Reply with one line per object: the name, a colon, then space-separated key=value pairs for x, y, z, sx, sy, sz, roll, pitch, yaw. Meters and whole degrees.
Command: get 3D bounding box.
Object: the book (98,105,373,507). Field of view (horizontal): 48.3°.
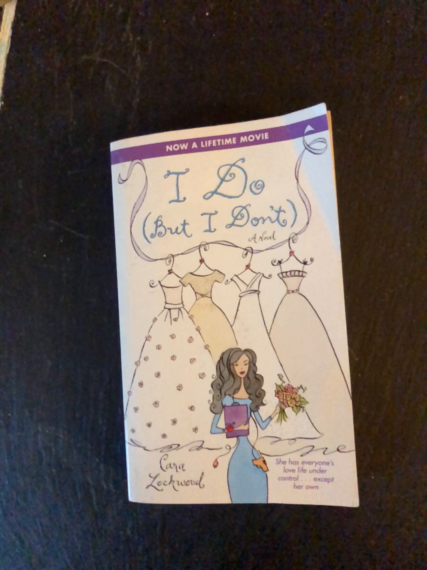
book: x=0.008 y=0.011 z=0.221 sx=0.110 sy=0.032 sz=0.164 roll=-4 pitch=88 yaw=11
